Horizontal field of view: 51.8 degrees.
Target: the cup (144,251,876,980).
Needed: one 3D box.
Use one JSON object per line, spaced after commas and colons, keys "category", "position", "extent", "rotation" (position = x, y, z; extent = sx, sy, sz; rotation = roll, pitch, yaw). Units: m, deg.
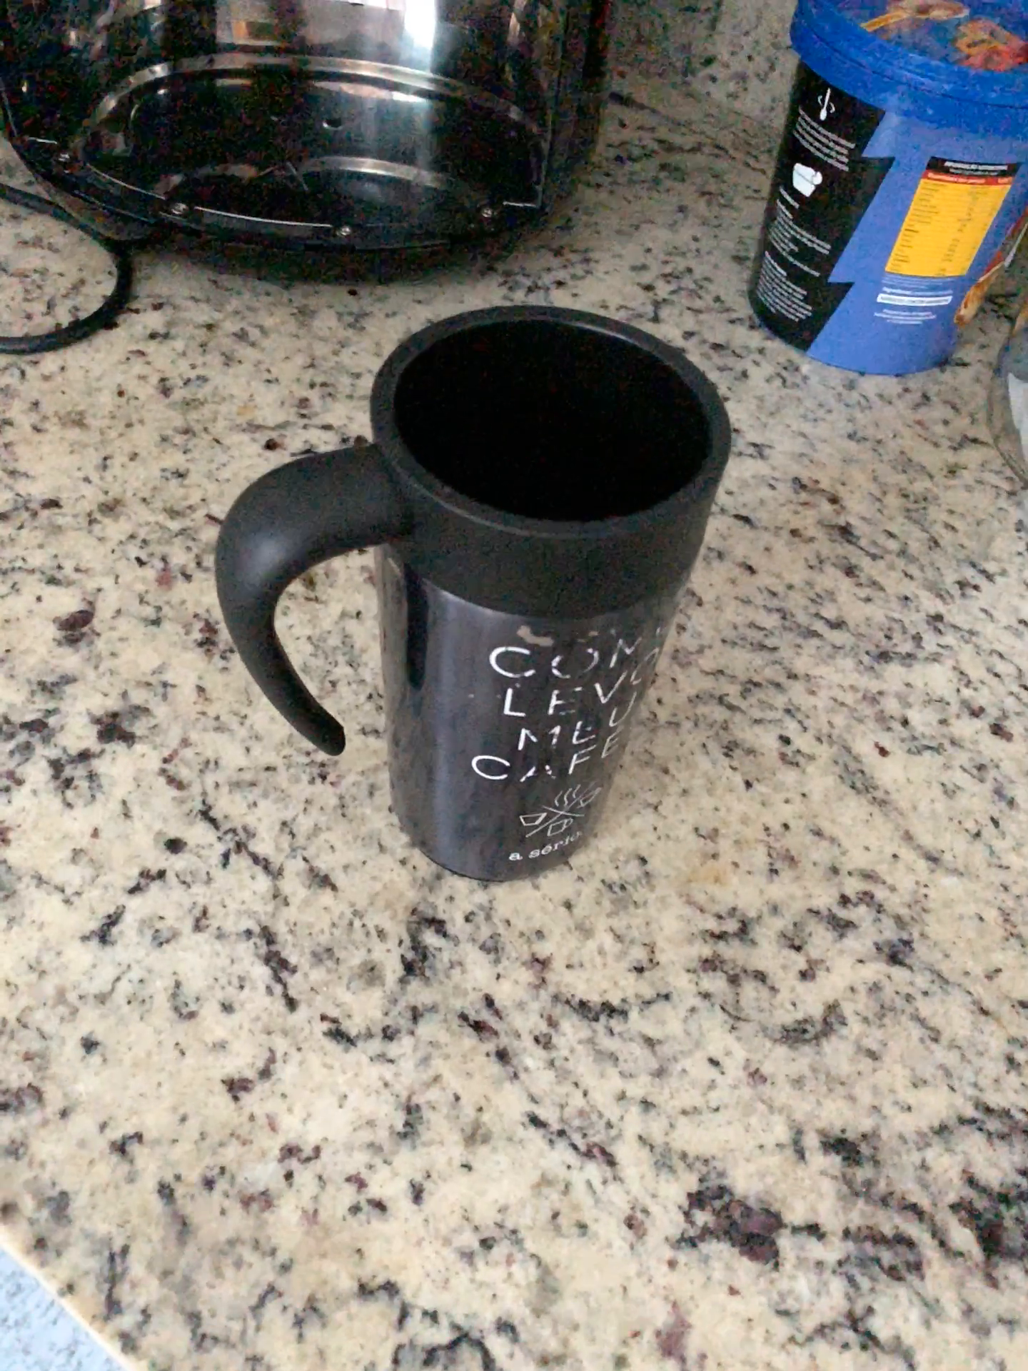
{"category": "cup", "position": [-0.009, -0.012, 0.259], "extent": [0.120, 0.139, 0.080], "rotation": [-16, 56, -18]}
